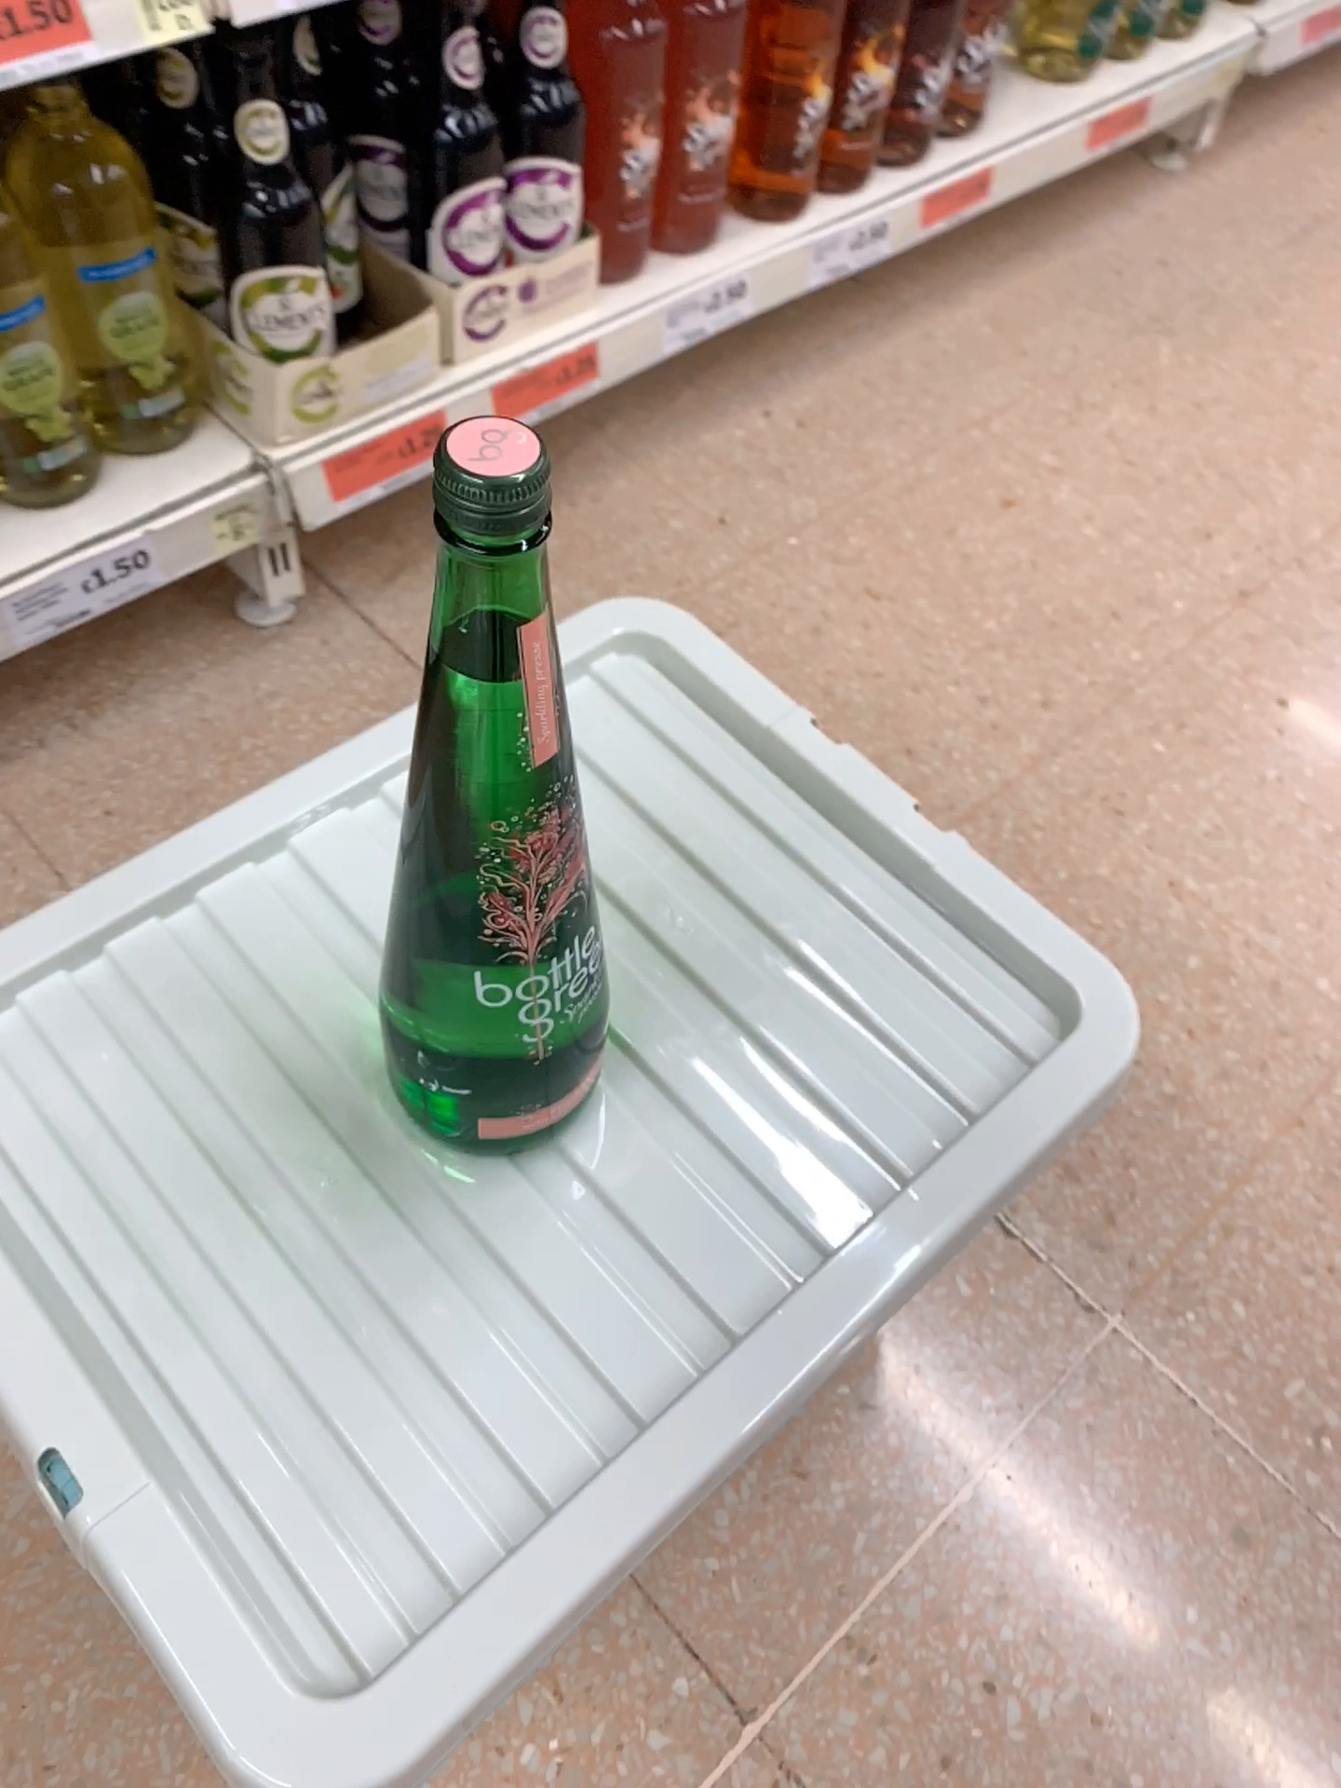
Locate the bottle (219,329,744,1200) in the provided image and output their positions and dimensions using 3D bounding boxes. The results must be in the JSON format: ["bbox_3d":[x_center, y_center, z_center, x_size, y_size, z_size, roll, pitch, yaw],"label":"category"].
[{"bbox_3d":[-0.057,-0.016,0.444,0.090,0.287,0.085,3,55,-4],"label":"bottle"}]
